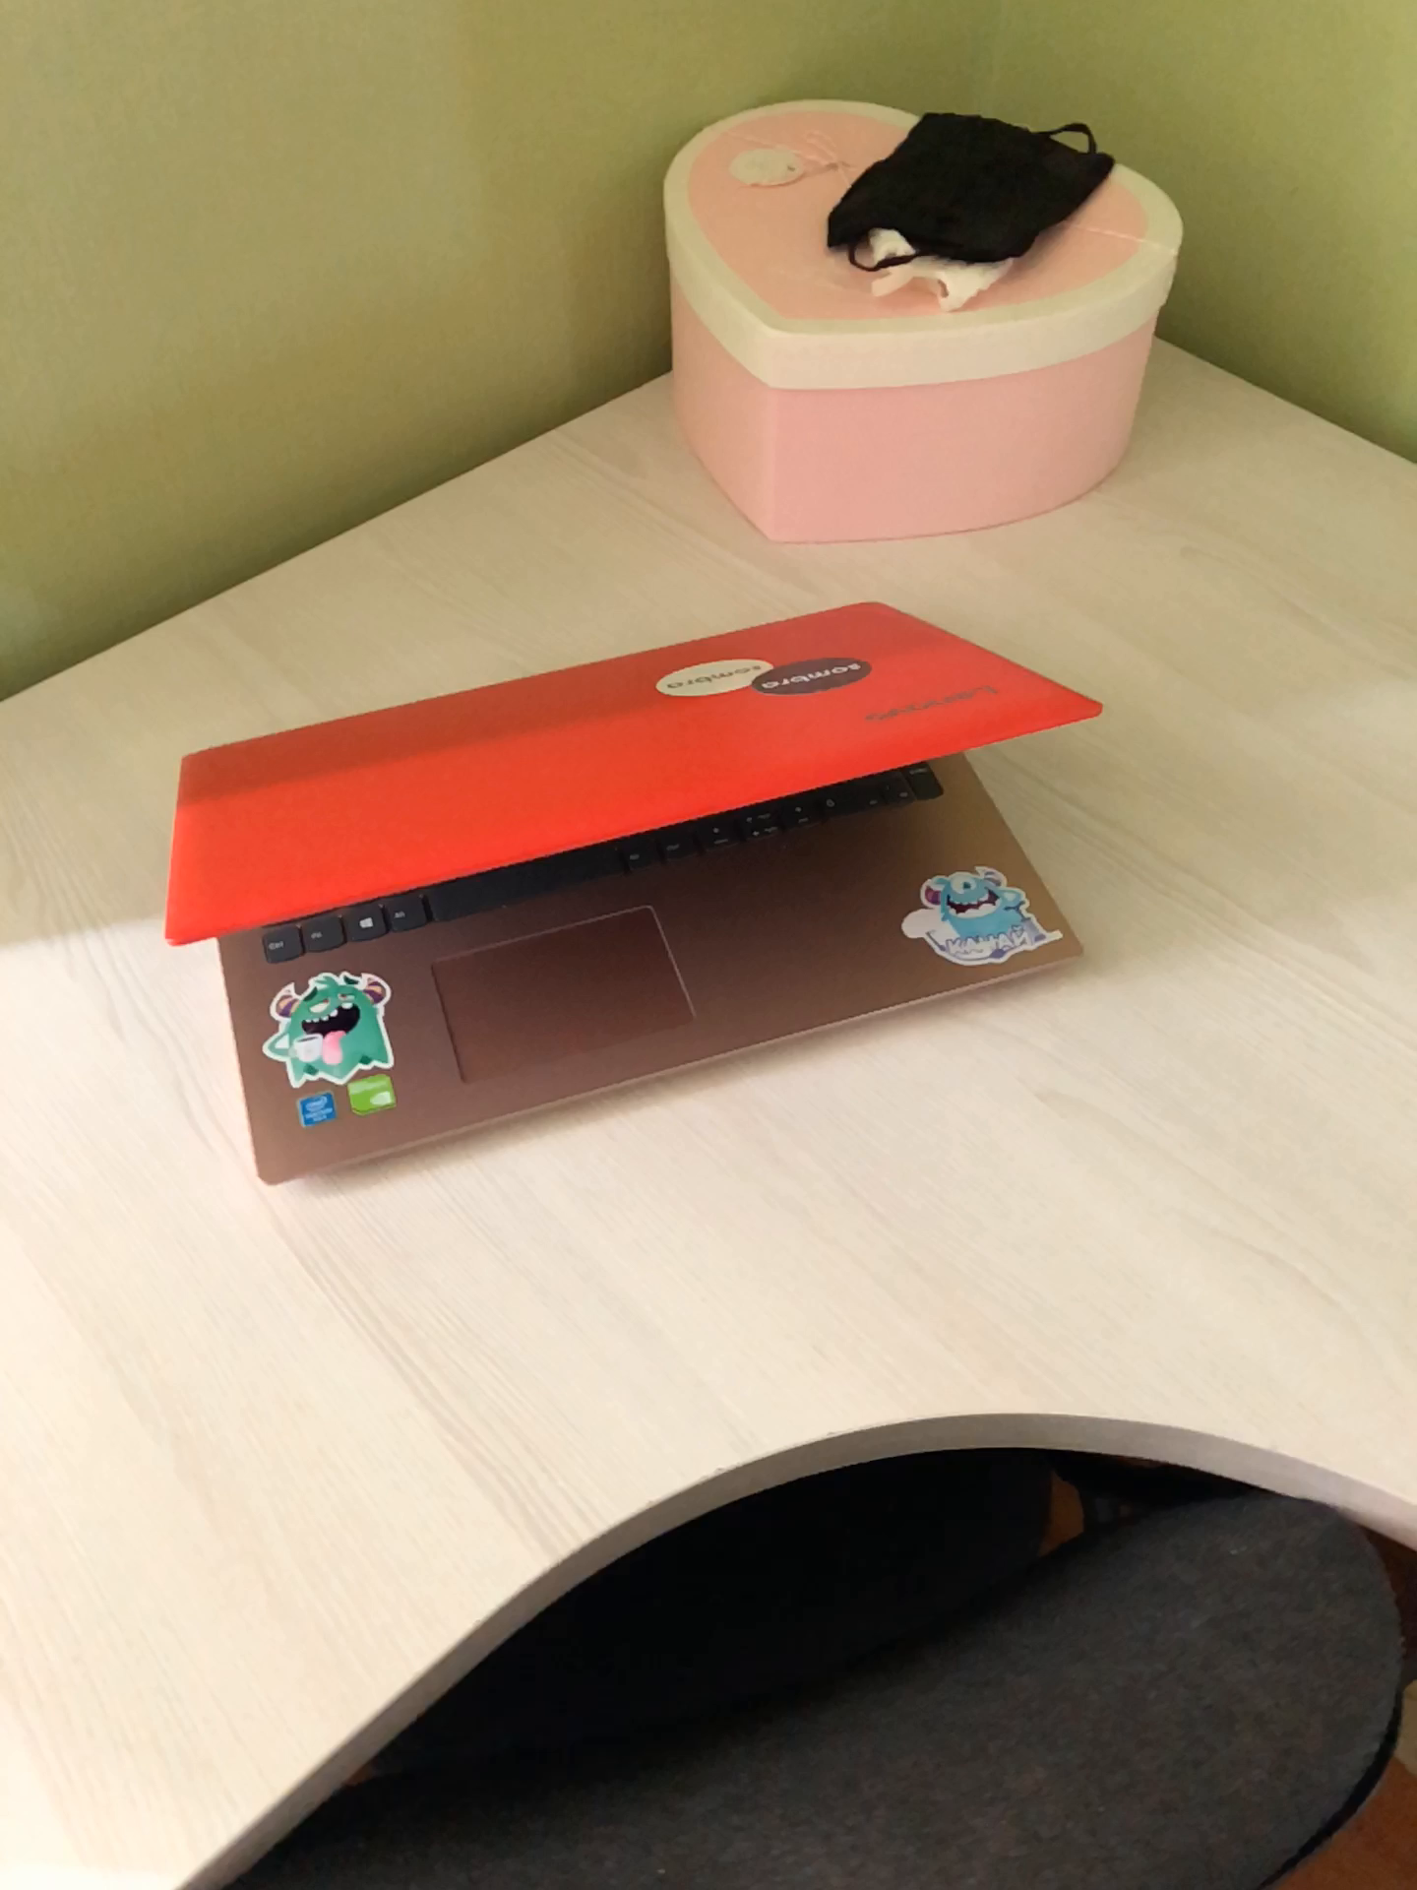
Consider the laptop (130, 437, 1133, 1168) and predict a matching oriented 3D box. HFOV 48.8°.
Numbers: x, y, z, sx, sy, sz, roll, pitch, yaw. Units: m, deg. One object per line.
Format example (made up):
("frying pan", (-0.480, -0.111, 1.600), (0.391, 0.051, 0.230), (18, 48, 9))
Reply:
("laptop", (-0.042, -0.077, 0.696), (0.366, 0.112, 0.233), (-15, 54, -11))
